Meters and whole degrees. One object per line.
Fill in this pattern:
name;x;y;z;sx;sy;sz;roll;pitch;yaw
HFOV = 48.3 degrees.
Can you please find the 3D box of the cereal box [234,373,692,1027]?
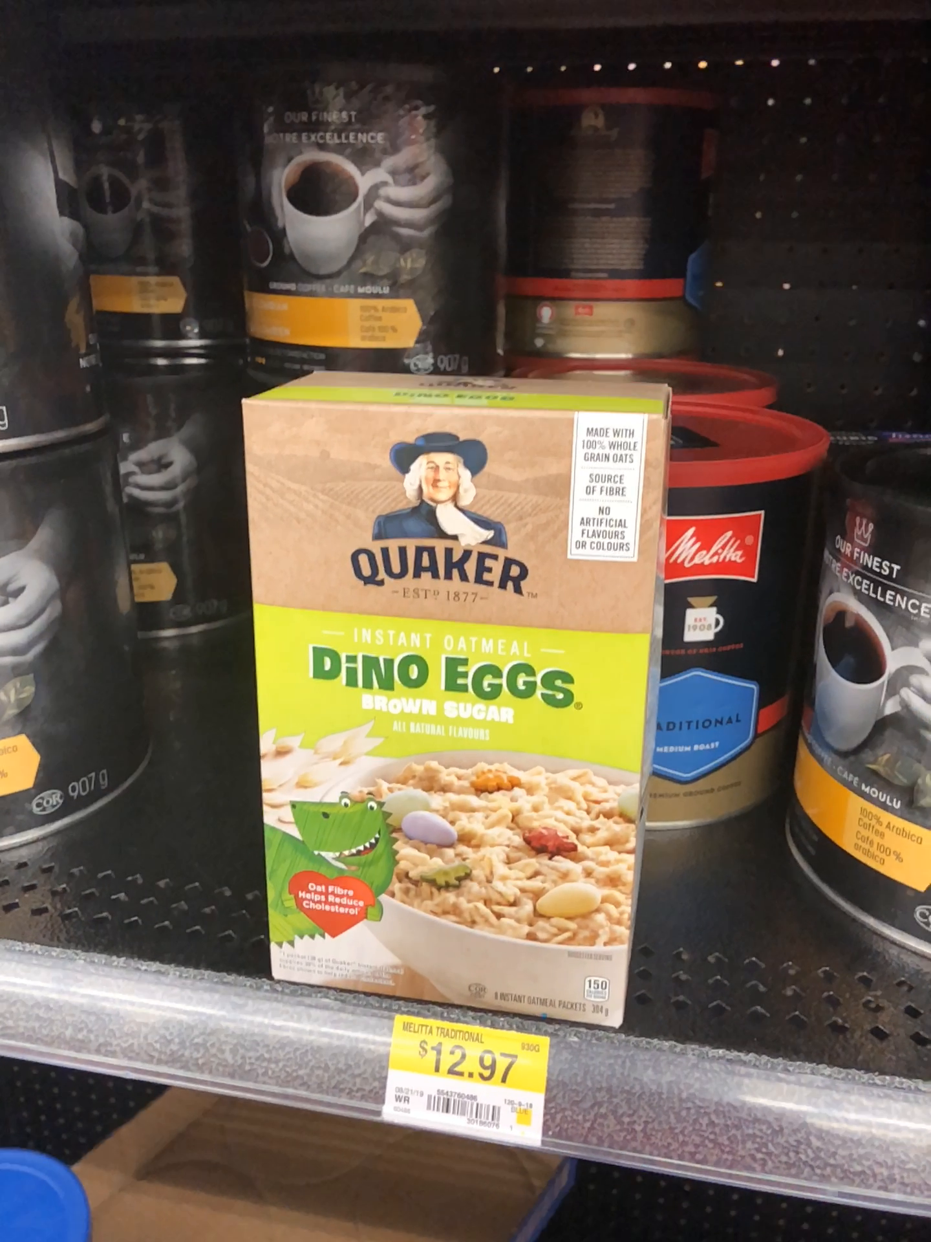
cereal box;0.002;0.023;0.354;0.130;0.199;0.070;4;19;10
